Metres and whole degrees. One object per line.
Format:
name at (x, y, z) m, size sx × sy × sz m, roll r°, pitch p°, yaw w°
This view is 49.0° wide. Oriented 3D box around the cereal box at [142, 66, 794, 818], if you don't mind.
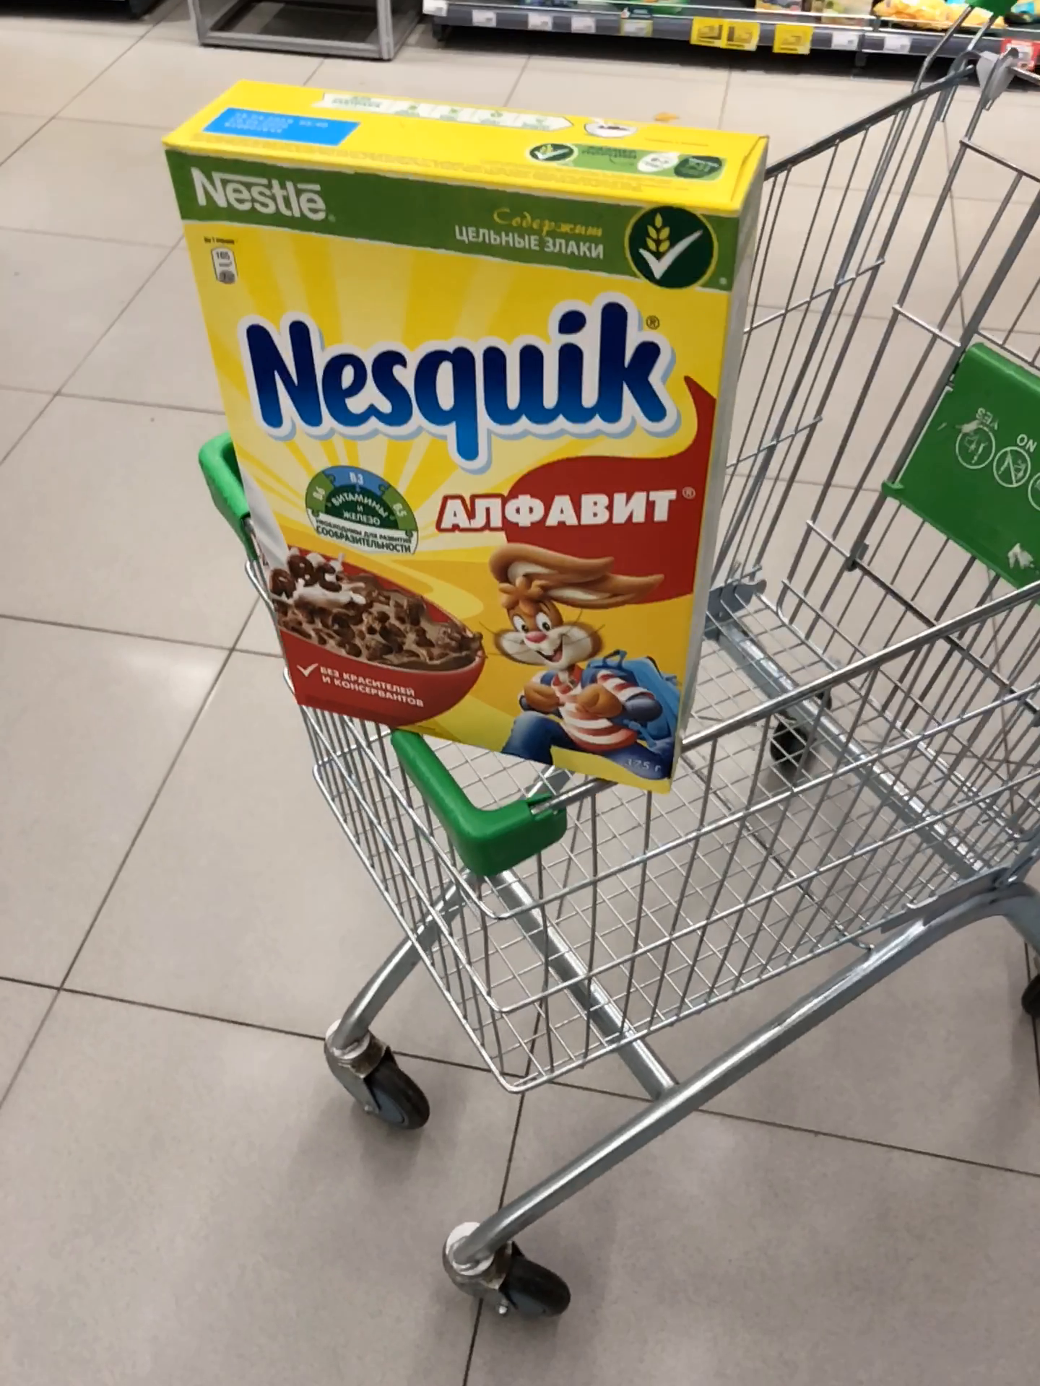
cereal box at (-0.017, -0.082, 0.471) m, size 0.200 × 0.288 × 0.060 m, roll 12°, pitch 48°, yaw 11°
